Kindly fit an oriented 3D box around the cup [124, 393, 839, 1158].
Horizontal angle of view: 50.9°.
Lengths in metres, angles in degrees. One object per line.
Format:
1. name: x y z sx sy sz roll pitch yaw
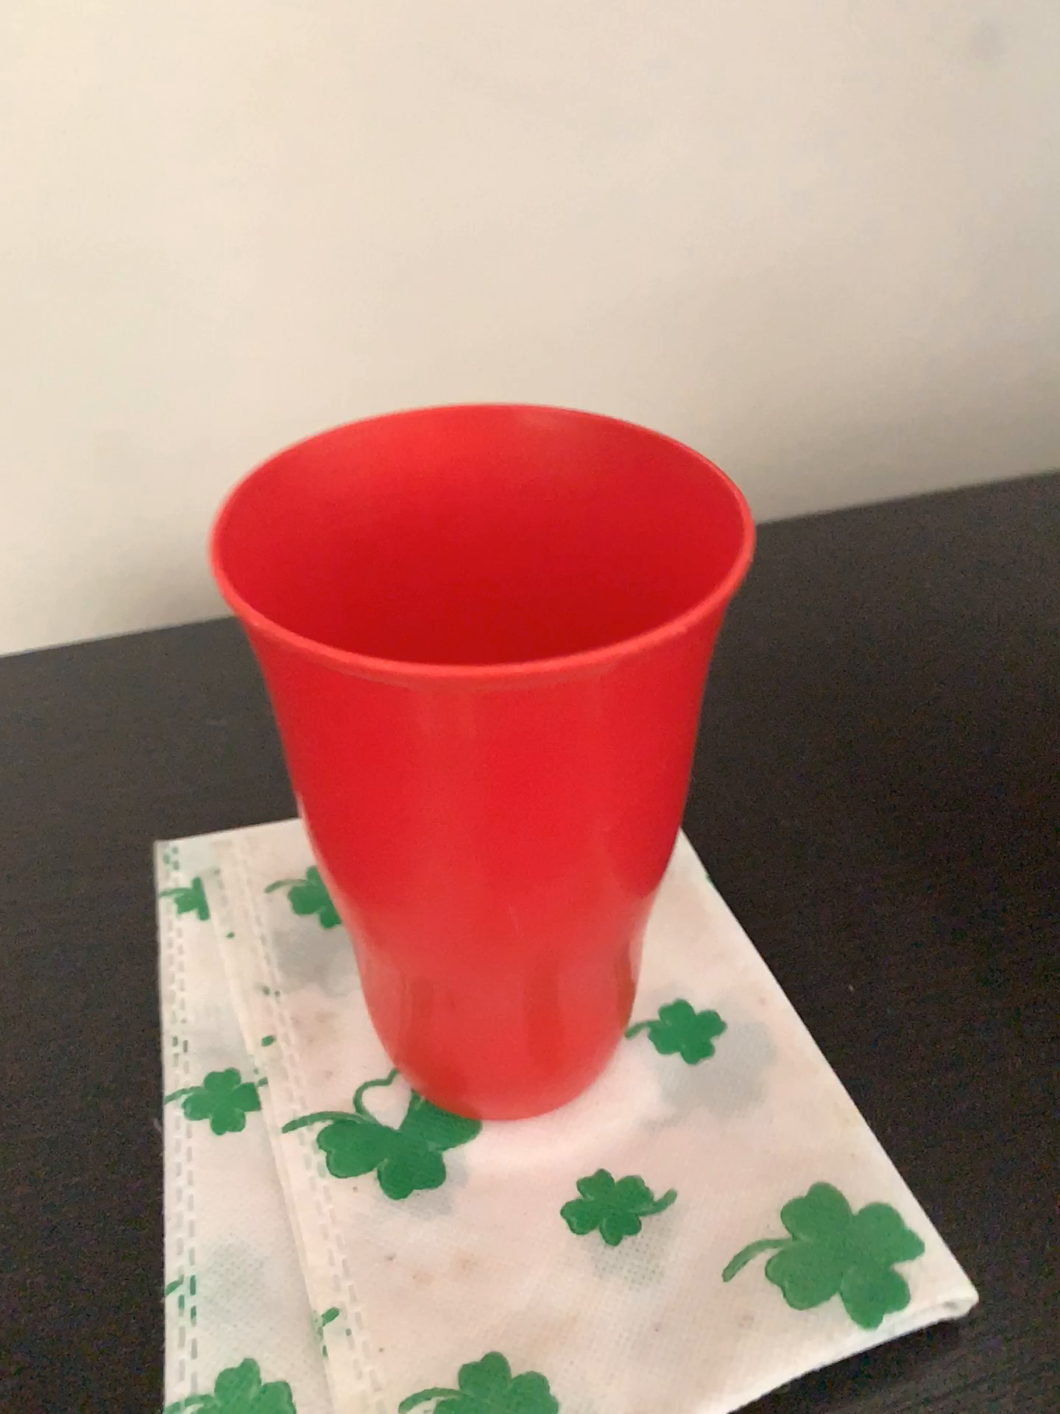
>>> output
1. cup: -0.007 0.008 0.183 0.079 0.091 0.082 0 36 0
